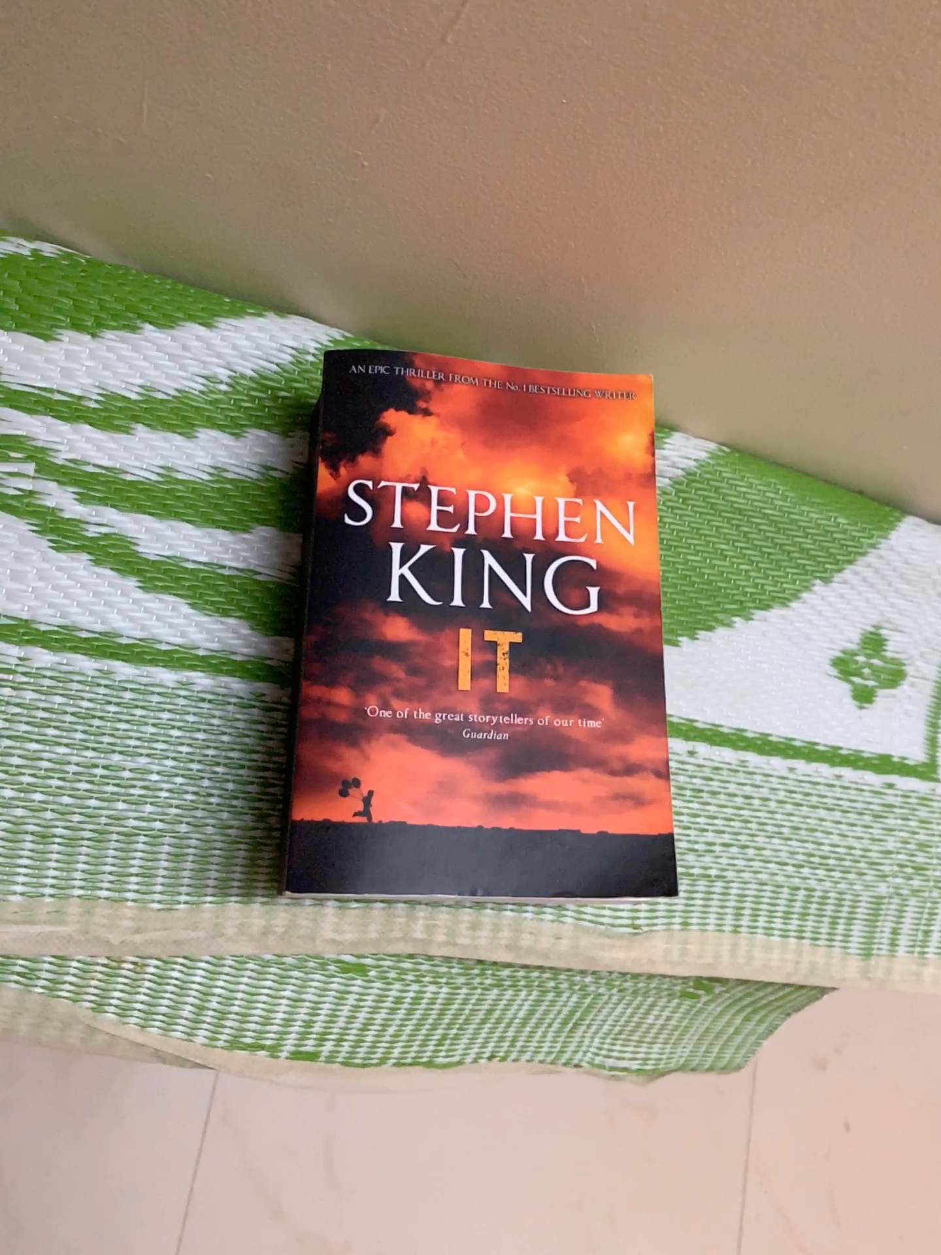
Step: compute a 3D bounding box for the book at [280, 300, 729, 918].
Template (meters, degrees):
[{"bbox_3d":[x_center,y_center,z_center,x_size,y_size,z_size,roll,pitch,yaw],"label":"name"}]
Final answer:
[{"bbox_3d":[0.011,-0.003,0.371,0.140,0.070,0.210,7,69,-15],"label":"book"}]
